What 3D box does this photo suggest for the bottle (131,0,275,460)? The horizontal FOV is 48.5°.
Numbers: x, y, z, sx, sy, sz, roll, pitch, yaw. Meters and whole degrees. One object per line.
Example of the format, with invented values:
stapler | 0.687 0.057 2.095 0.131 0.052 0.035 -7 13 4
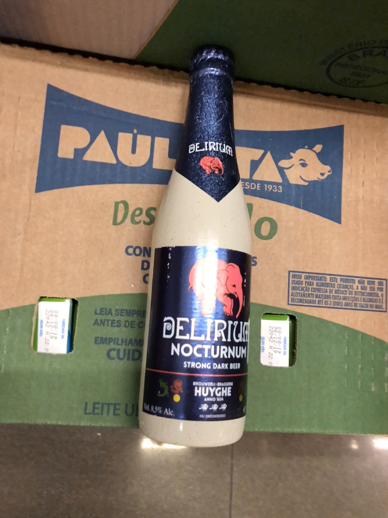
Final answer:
bottle | 0.005 -0.027 0.244 0.060 0.050 0.250 5 80 -9
